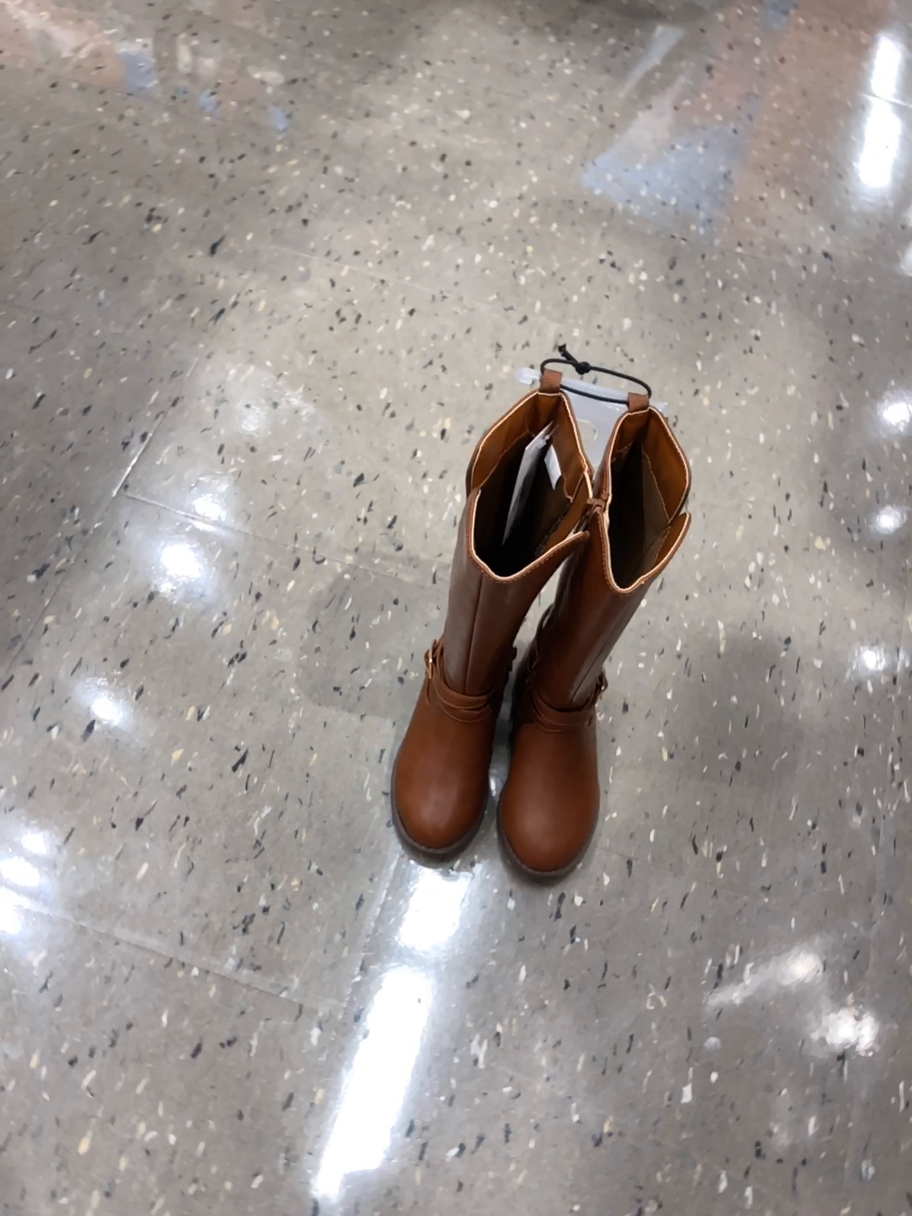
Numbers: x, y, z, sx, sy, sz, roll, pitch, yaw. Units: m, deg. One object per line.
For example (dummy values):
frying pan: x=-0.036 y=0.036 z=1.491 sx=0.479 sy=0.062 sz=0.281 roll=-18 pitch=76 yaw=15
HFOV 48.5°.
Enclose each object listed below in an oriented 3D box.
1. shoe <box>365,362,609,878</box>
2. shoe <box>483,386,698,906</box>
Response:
shoe: x=0.010 y=0.025 z=0.582 sx=0.070 sy=0.270 sz=0.180 roll=12 pitch=60 yaw=-2
shoe: x=0.070 y=0.040 z=0.587 sx=0.070 sy=0.270 sz=0.190 roll=7 pitch=60 yaw=1
